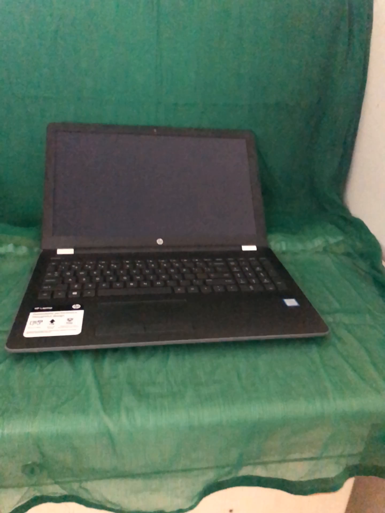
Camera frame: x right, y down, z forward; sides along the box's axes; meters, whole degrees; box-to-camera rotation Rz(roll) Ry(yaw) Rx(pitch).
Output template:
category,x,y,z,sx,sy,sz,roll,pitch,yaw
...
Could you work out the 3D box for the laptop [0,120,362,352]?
category,x,y,z,sx,sy,sz,roll,pitch,yaw
laptop,-0.040,-0.076,0.639,0.378,0.178,0.417,-1,26,-9
